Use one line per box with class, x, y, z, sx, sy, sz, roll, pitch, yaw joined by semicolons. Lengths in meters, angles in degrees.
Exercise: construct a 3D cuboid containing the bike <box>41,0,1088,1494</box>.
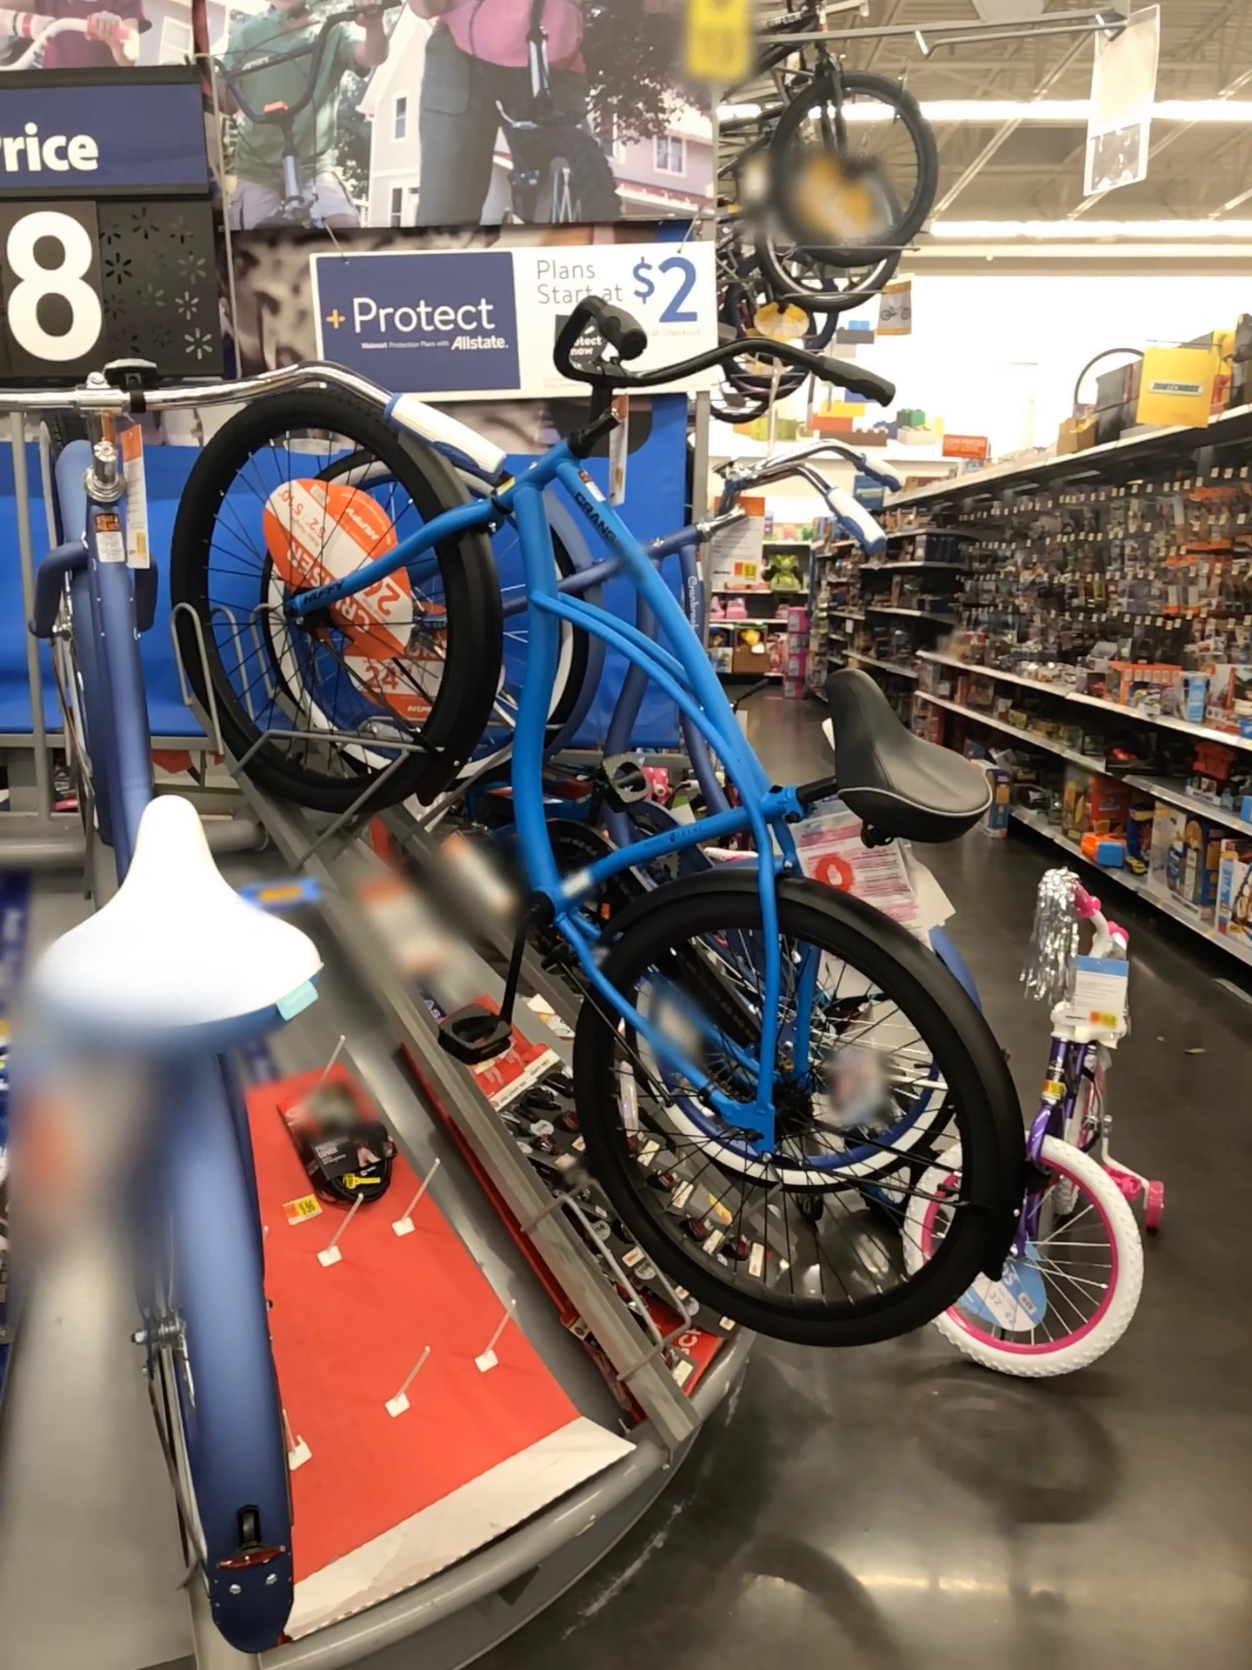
bike;-0.081;-0.506;1.819;1.559;1.123;0.506;34;22;20
